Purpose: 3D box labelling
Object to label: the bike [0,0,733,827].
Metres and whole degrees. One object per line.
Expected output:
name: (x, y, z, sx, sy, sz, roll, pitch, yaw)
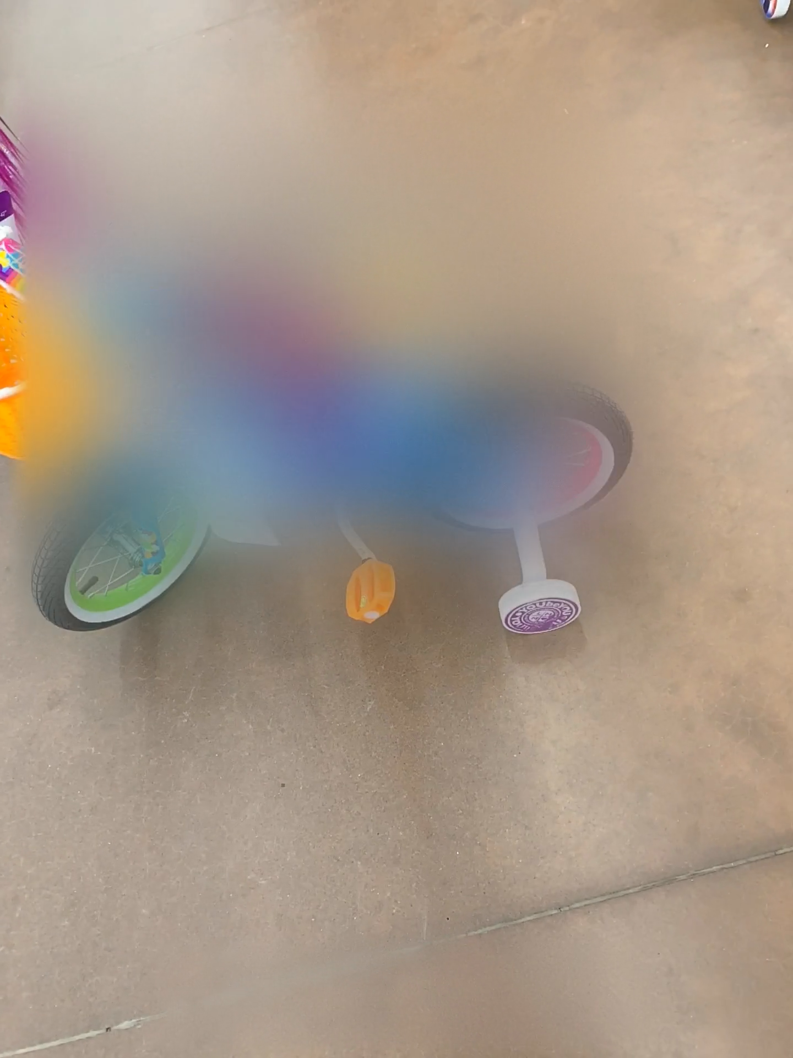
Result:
bike: (-0.134, -0.102, 0.963, 0.833, 0.667, 0.522, -15, 54, 7)
